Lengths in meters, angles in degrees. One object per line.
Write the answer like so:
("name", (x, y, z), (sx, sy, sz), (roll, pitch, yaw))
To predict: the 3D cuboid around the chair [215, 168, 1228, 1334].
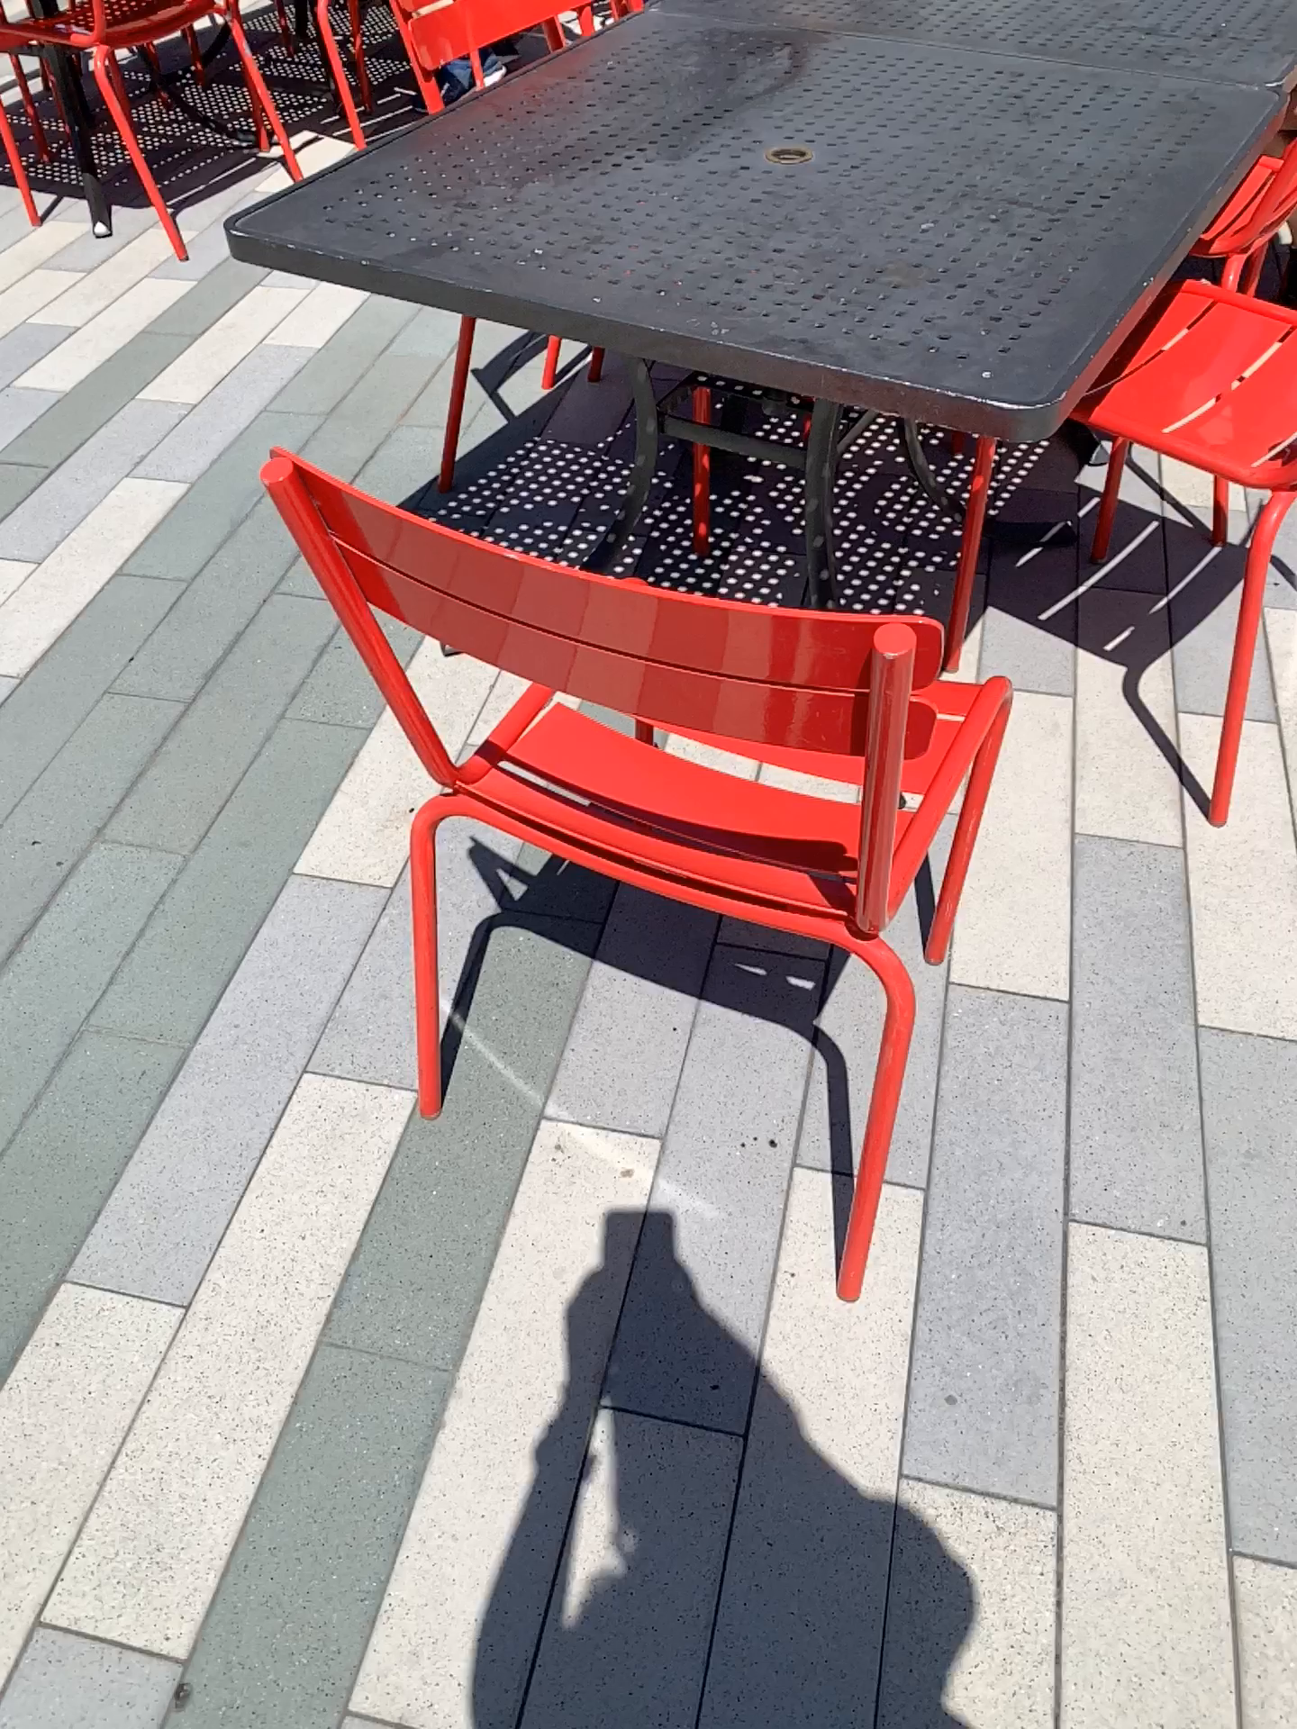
("chair", (0.099, -0.098, 1.302), (0.581, 0.845, 0.582), (18, 49, 18))
